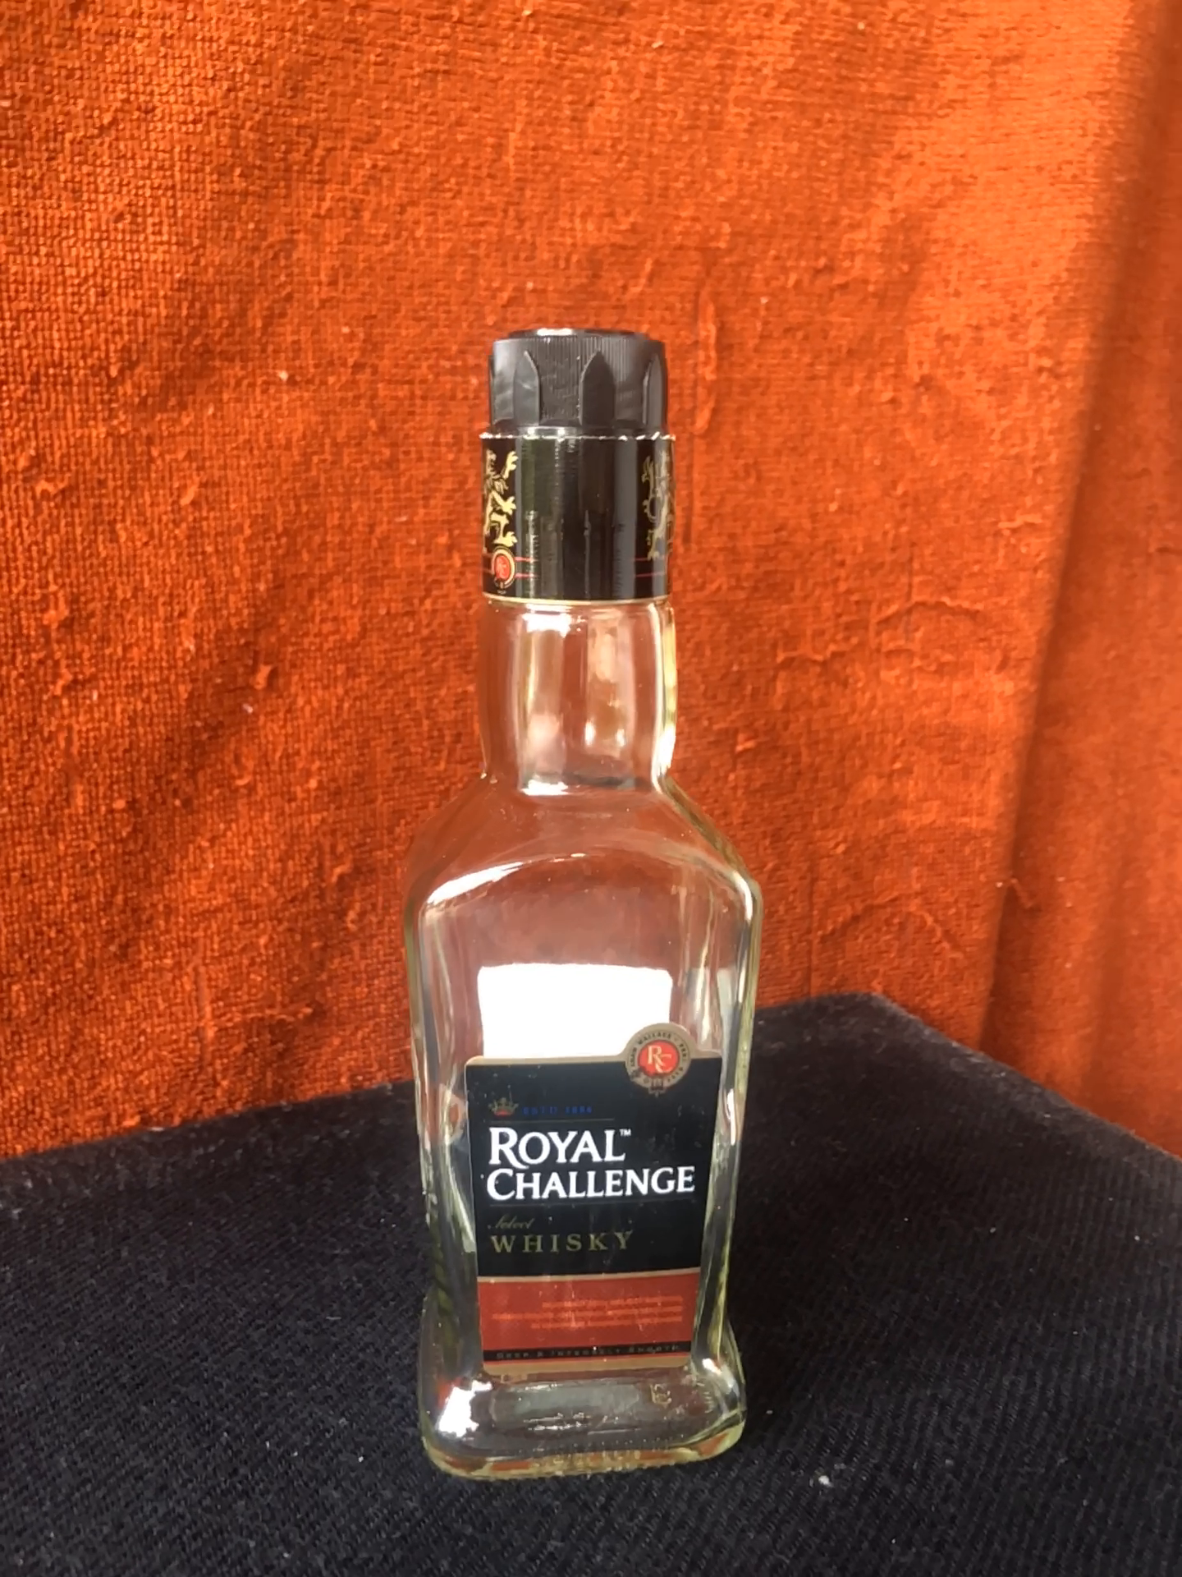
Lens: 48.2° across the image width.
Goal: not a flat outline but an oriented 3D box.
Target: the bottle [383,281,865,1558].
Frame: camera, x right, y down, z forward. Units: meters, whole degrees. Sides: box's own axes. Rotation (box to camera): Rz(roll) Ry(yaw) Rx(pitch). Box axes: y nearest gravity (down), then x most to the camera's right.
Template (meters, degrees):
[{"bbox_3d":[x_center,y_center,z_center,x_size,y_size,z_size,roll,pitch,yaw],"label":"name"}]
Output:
[{"bbox_3d":[-0.002,0.023,0.214,0.060,0.189,0.050,1,14,-7],"label":"bottle"}]
